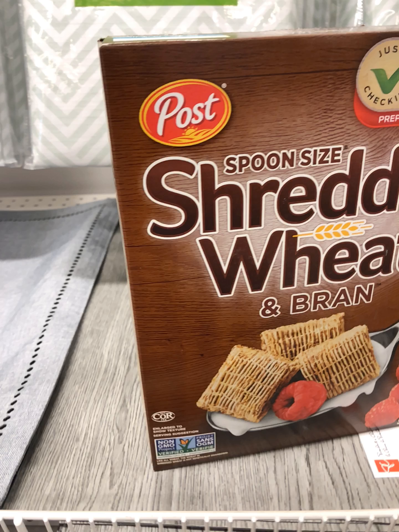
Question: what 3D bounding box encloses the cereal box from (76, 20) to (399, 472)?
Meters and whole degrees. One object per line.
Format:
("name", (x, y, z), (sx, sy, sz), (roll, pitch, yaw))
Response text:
("cereal box", (0.046, -0.004, 0.280), (0.200, 0.259, 0.070), (-6, 30, -9))
